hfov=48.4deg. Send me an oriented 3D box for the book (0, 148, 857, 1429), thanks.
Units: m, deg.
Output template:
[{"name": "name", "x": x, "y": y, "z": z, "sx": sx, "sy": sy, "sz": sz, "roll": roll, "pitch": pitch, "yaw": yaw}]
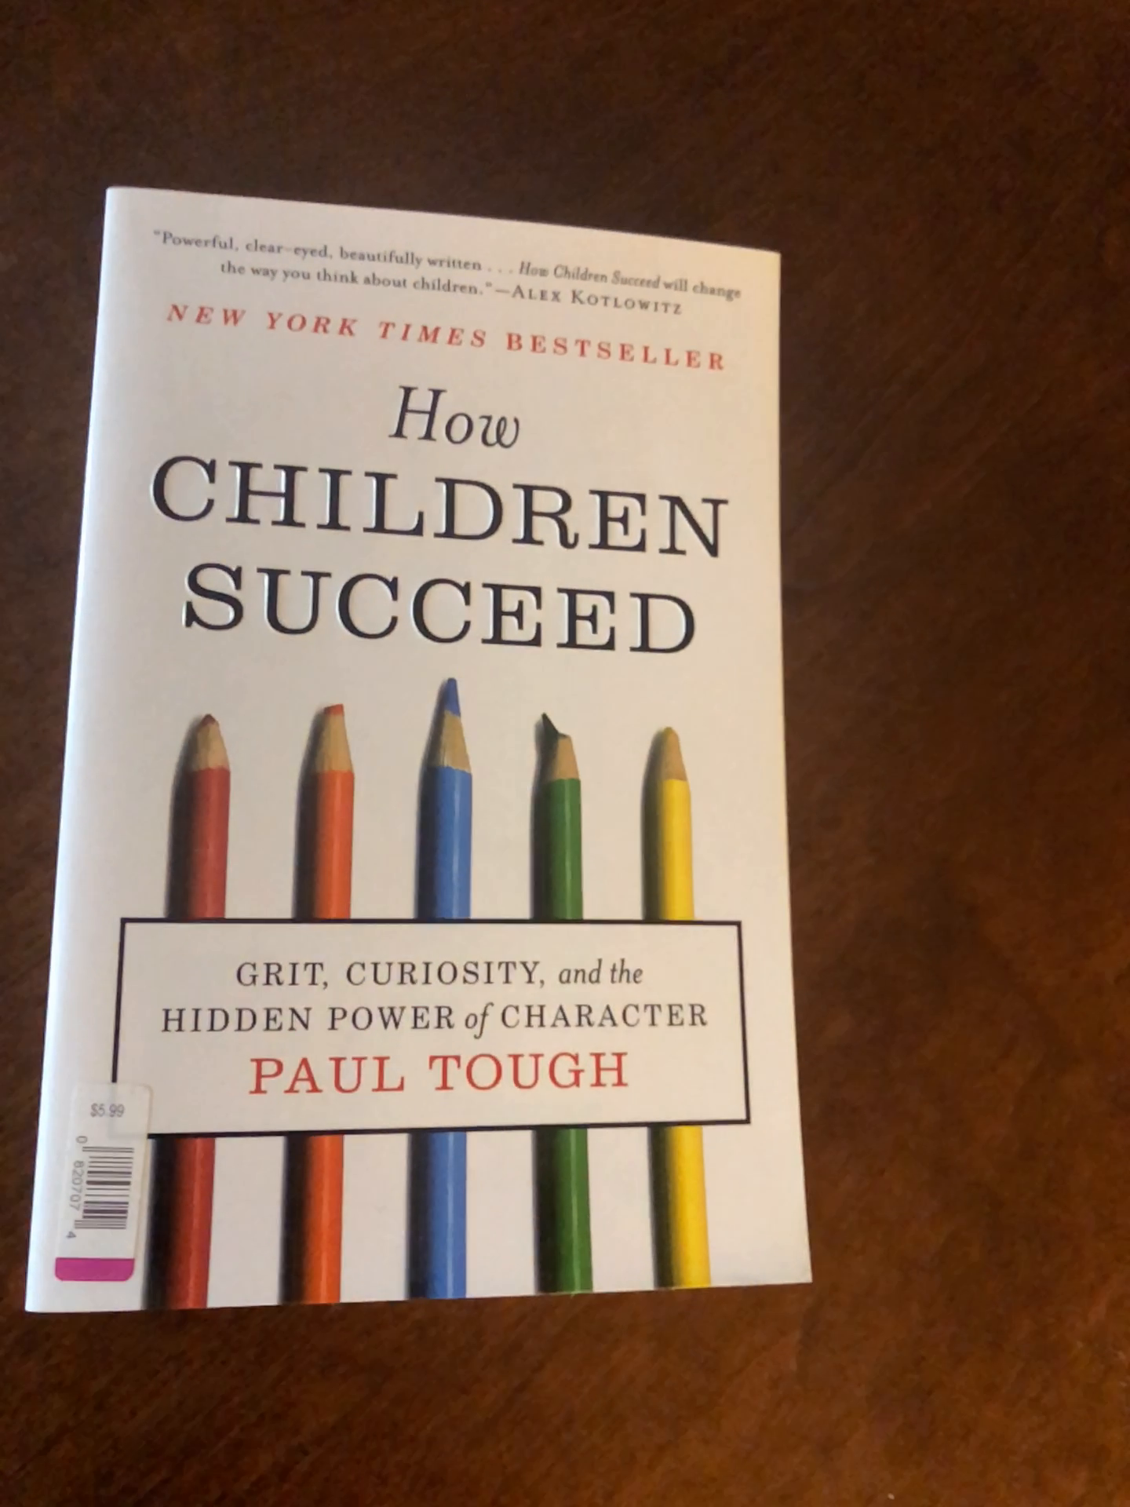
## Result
[{"name": "book", "x": -0.022, "y": 0.001, "z": 0.231, "sx": 0.140, "sy": 0.030, "sz": 0.210, "roll": 2, "pitch": 80, "yaw": -10}]
